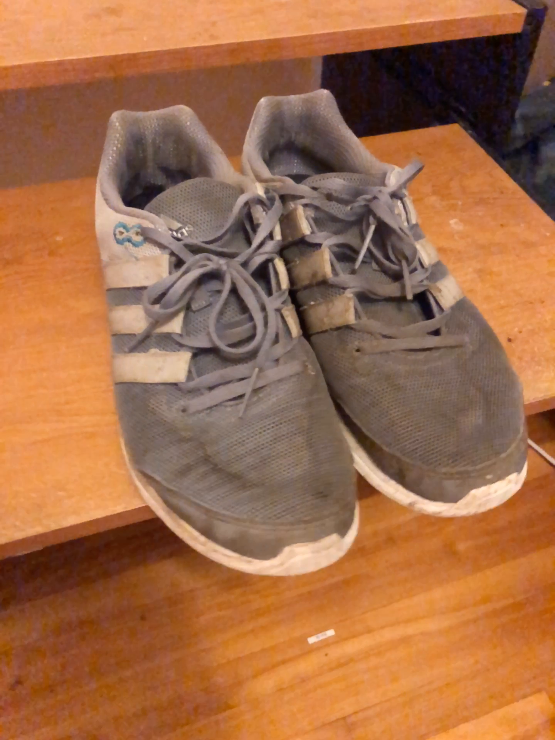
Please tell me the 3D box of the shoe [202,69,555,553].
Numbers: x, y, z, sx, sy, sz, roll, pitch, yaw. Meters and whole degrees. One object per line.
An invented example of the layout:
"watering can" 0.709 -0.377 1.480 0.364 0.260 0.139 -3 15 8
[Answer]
"shoe" 0.058 -0.059 0.336 0.120 0.089 0.272 -15 50 -15

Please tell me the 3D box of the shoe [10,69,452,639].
"shoe" -0.051 -0.043 0.316 0.110 0.089 0.302 -16 50 -16
